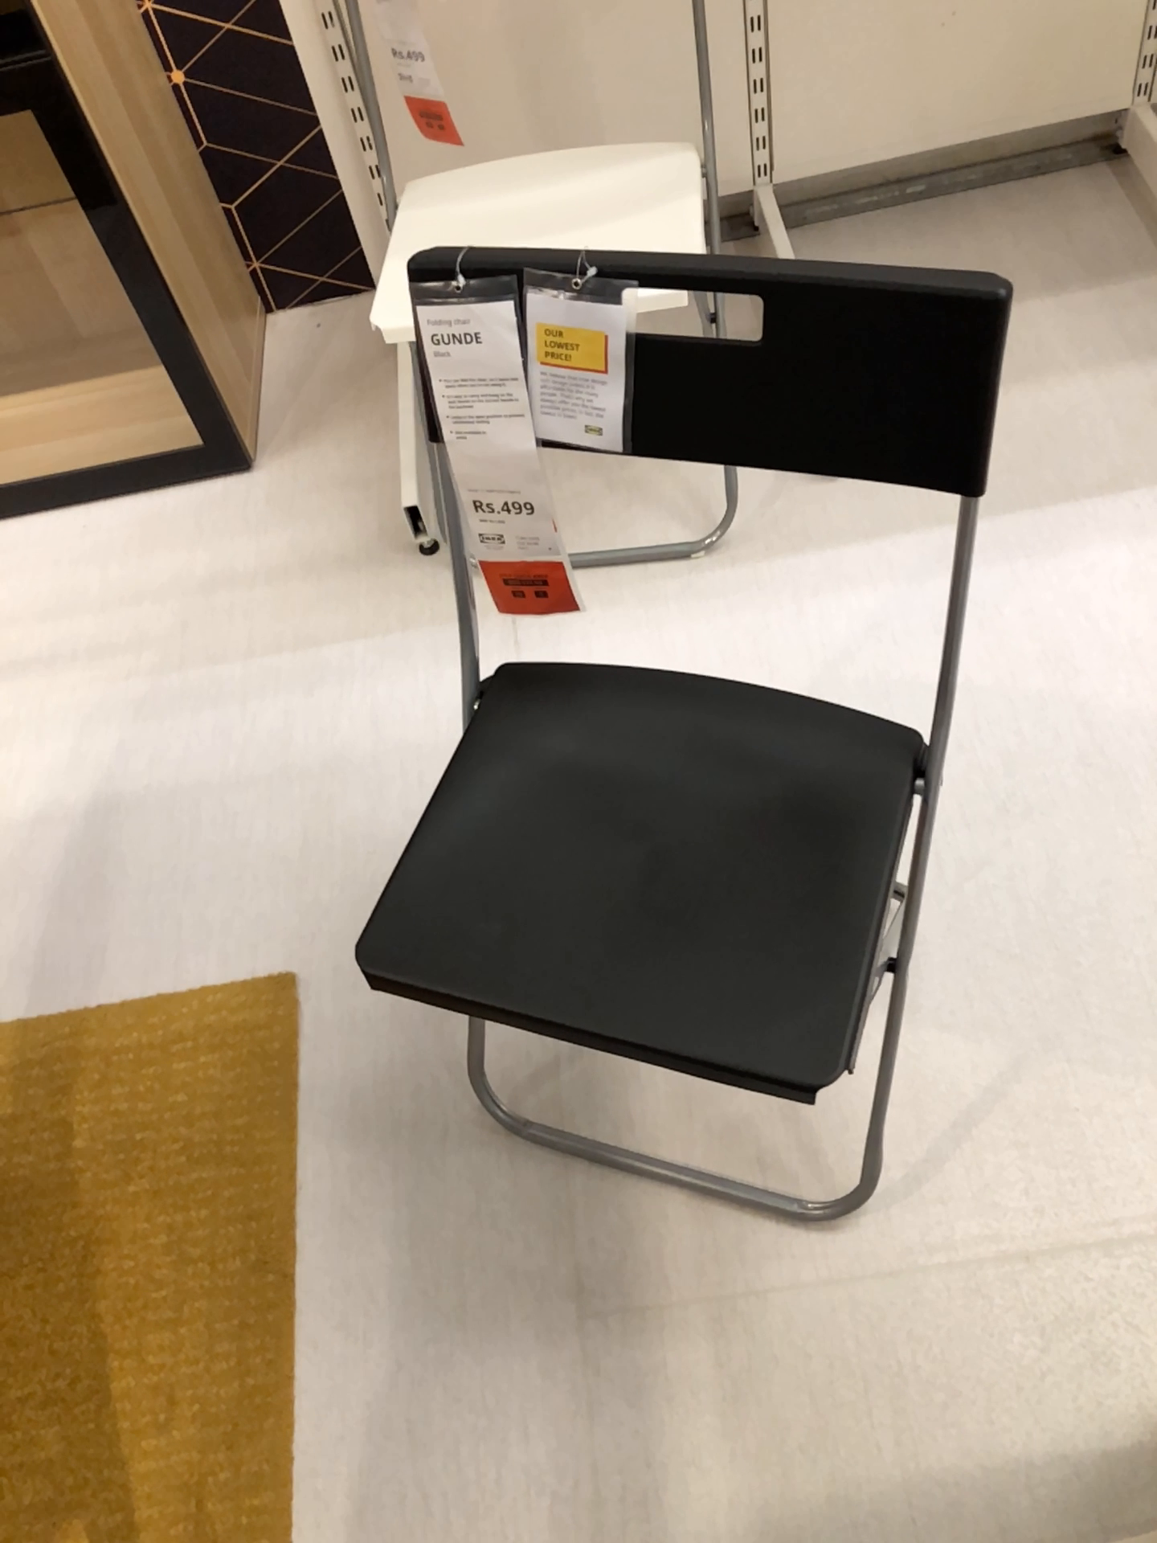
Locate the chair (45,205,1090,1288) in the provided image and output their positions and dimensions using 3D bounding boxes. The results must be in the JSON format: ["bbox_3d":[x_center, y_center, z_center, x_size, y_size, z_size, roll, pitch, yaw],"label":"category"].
[{"bbox_3d":[0.074,0.033,1.061,0.501,0.786,0.462,10,58,18],"label":"chair"}]
